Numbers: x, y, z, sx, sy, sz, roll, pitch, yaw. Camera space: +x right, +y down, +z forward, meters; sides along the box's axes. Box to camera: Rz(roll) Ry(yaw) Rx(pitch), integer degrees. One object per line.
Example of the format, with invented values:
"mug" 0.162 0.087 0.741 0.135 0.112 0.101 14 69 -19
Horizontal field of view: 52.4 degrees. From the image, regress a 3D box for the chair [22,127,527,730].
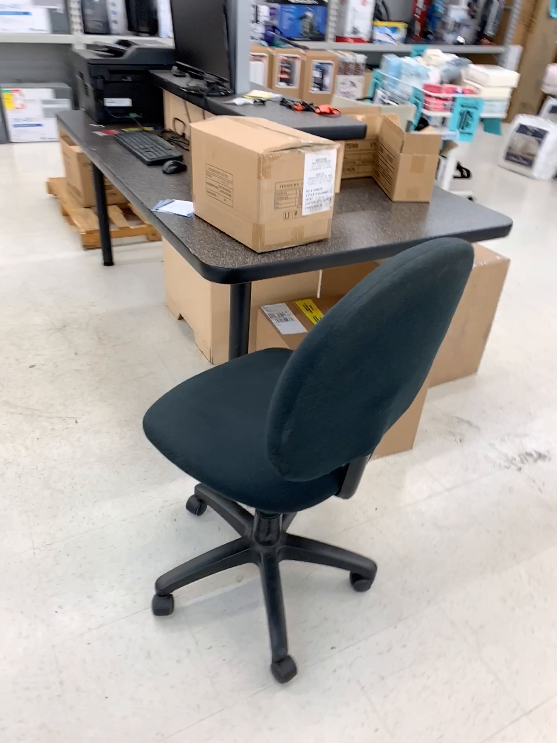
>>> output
"chair" -0.026 0.077 1.219 0.602 0.964 0.602 31 42 34
